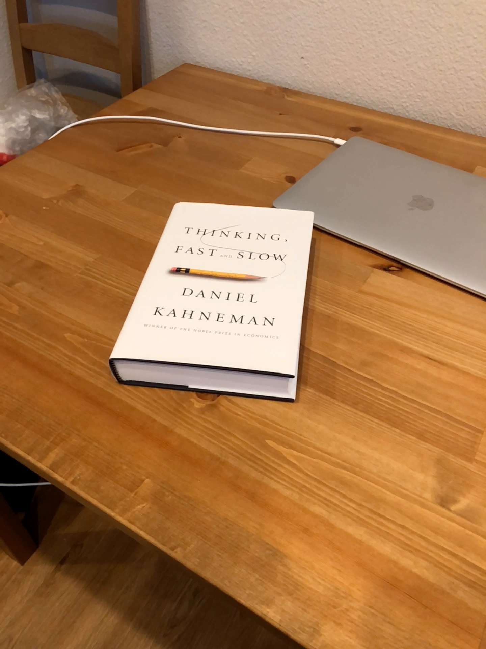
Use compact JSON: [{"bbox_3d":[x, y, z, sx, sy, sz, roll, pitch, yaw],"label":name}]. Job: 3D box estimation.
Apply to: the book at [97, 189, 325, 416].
[{"bbox_3d":[-0.016,-0.038,0.554,0.180,0.060,0.251,6,46,6],"label":"book"}]
